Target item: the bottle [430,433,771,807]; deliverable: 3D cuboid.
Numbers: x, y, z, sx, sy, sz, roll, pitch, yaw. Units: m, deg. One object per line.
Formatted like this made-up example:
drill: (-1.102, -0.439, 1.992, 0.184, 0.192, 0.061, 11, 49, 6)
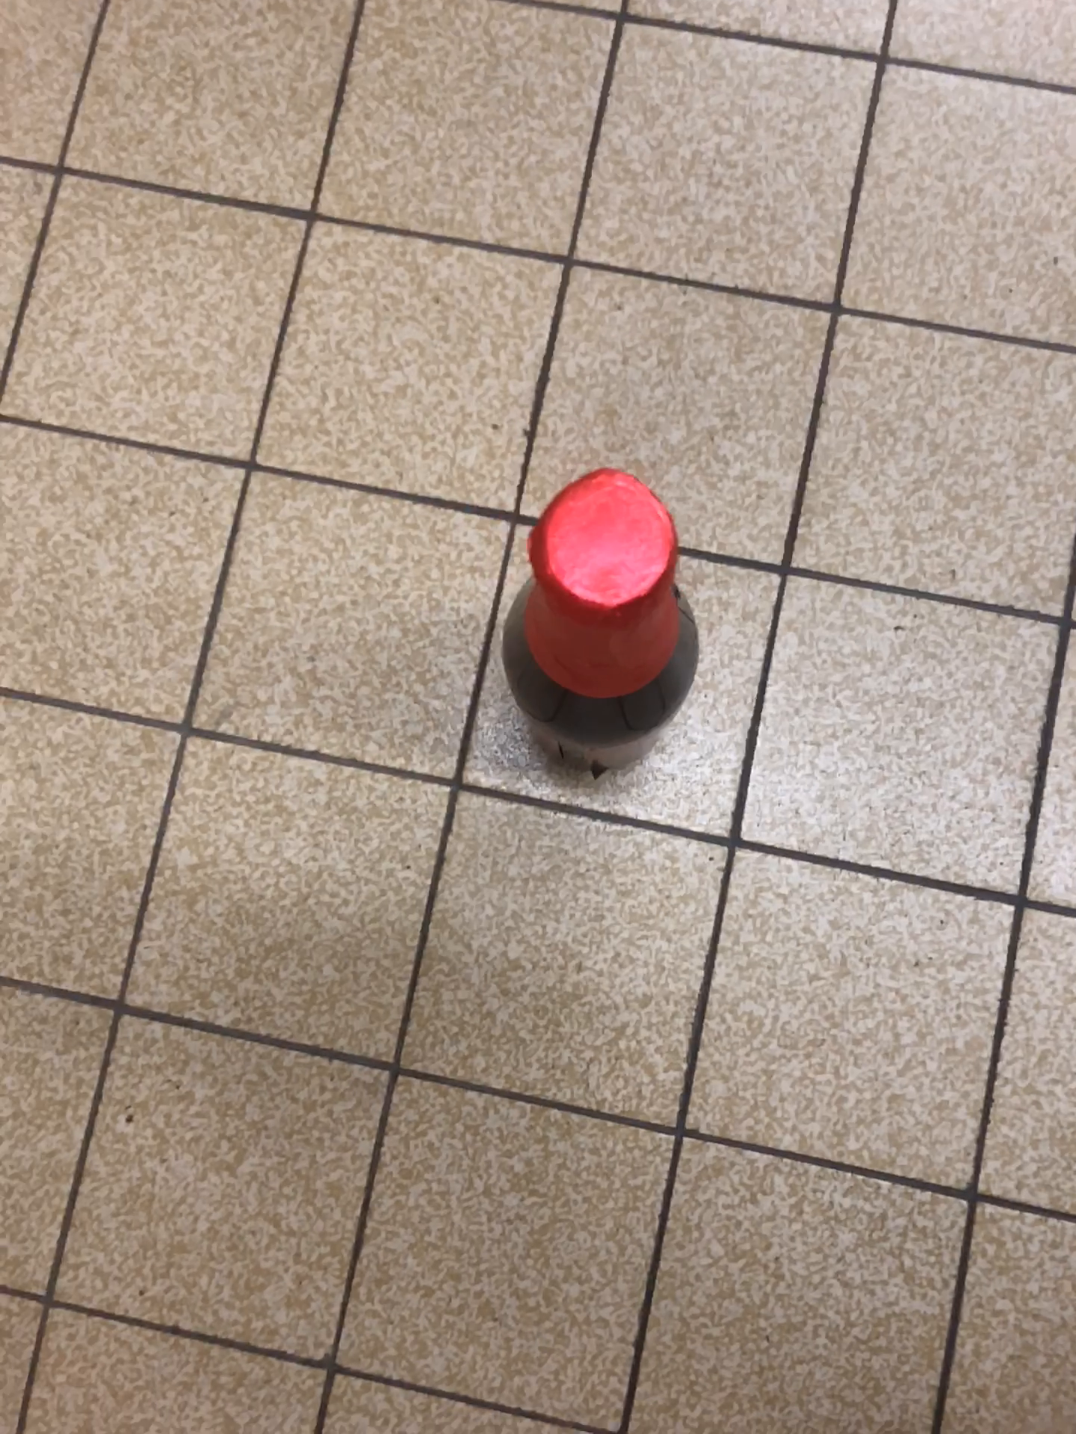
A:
bottle: (0.017, -0.012, 0.324, 0.060, 0.200, 0.060, 0, 83, 3)
